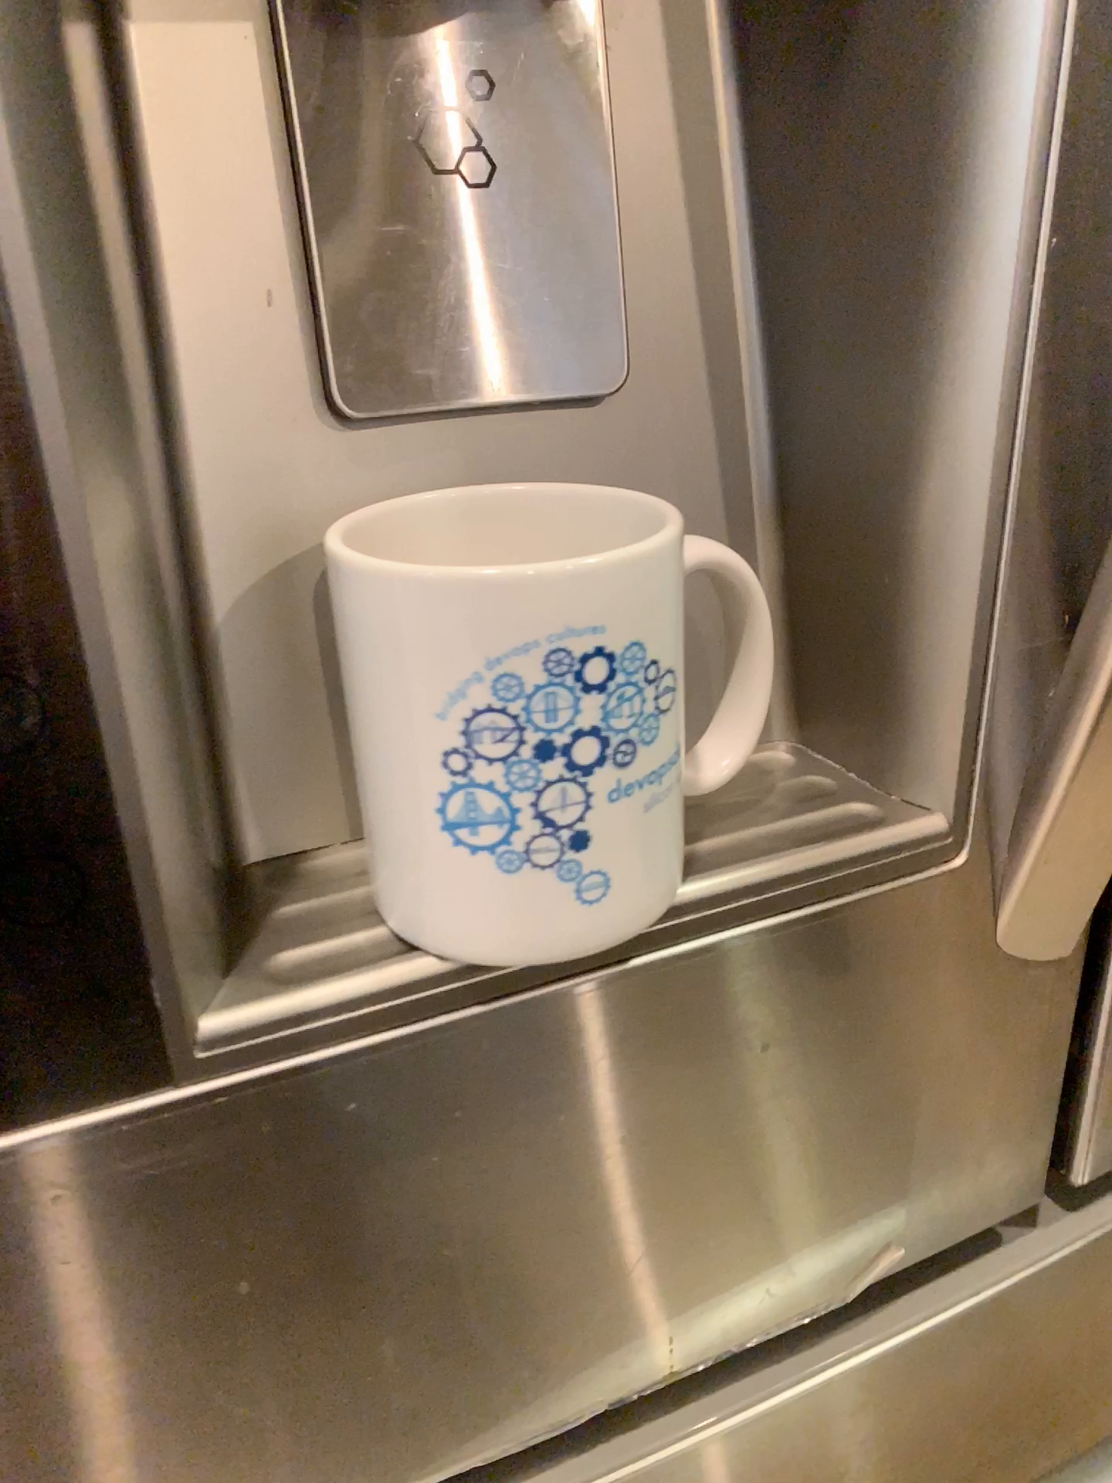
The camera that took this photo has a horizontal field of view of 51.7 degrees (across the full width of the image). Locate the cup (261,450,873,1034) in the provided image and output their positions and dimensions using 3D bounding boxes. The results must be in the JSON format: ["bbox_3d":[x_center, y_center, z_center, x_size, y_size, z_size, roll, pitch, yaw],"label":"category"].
[{"bbox_3d":[0.003,-0.010,0.290,0.120,0.099,0.080,-15,28,-27],"label":"cup"}]
